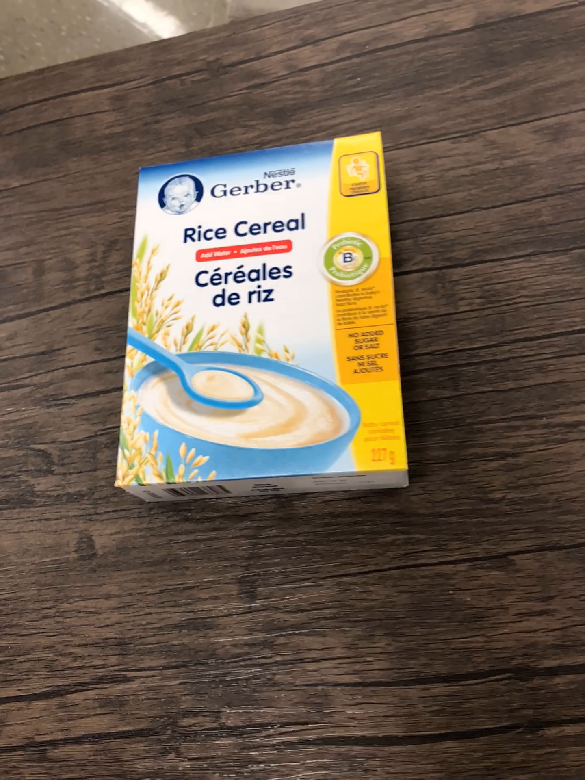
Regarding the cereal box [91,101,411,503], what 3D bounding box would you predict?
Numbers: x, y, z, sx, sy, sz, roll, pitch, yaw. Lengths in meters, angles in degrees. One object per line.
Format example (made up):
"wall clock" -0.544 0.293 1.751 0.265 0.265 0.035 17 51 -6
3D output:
"cereal box" -0.020 -0.046 0.354 0.150 0.050 0.200 -5 71 11
